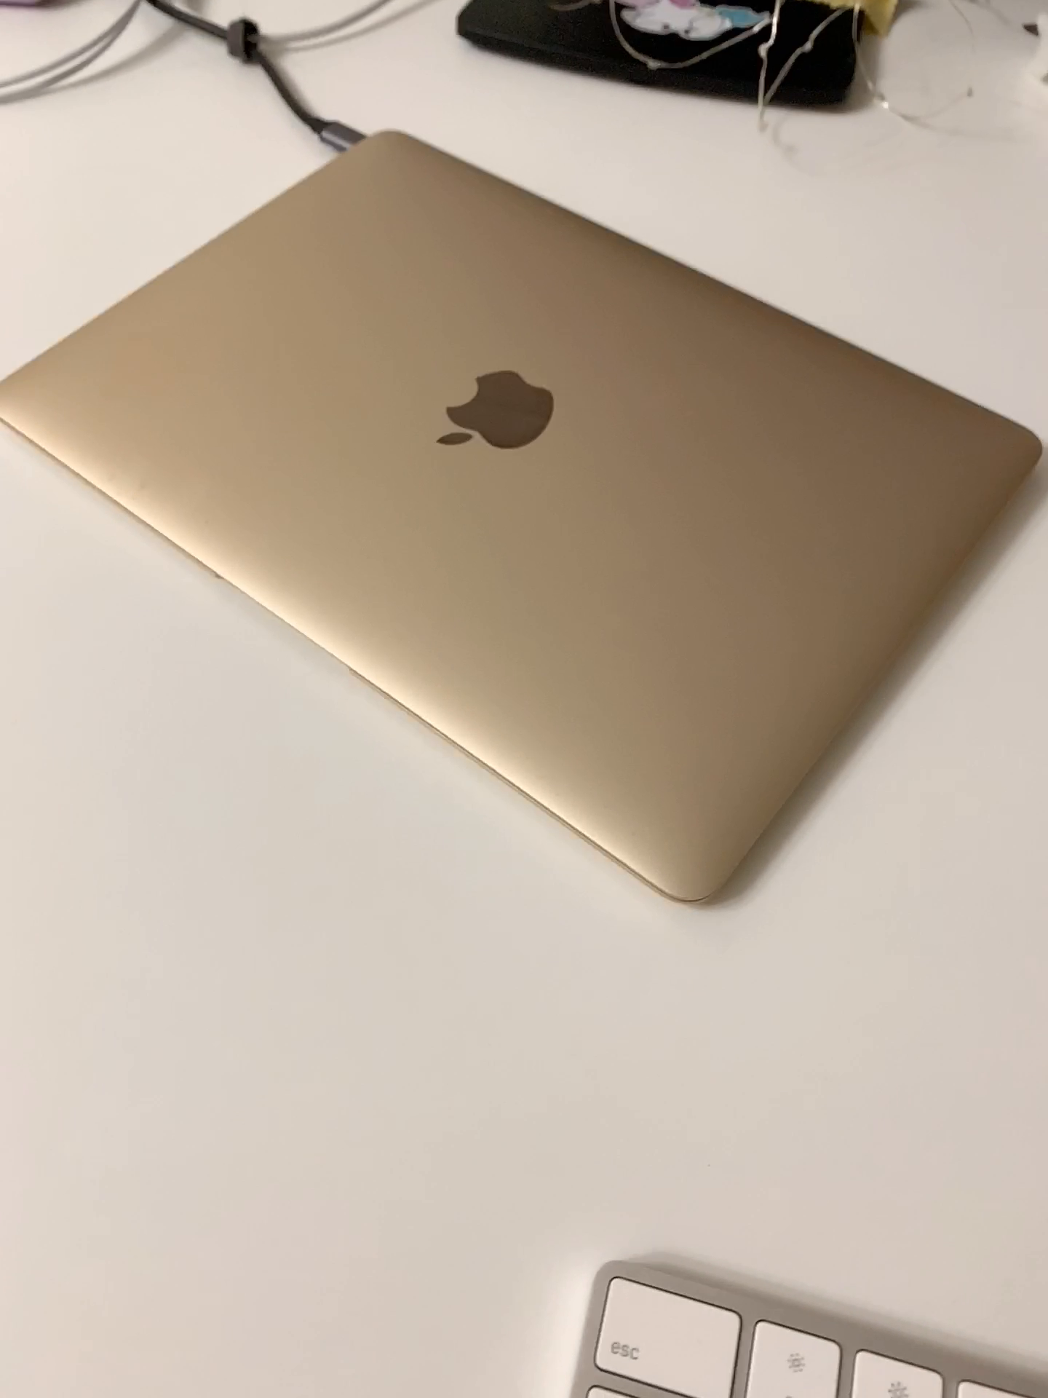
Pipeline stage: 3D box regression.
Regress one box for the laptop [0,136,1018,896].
[{"bbox_3d":[-0.010,-0.082,0.331,0.255,0.009,0.175,34,65,21],"label":"laptop"}]
